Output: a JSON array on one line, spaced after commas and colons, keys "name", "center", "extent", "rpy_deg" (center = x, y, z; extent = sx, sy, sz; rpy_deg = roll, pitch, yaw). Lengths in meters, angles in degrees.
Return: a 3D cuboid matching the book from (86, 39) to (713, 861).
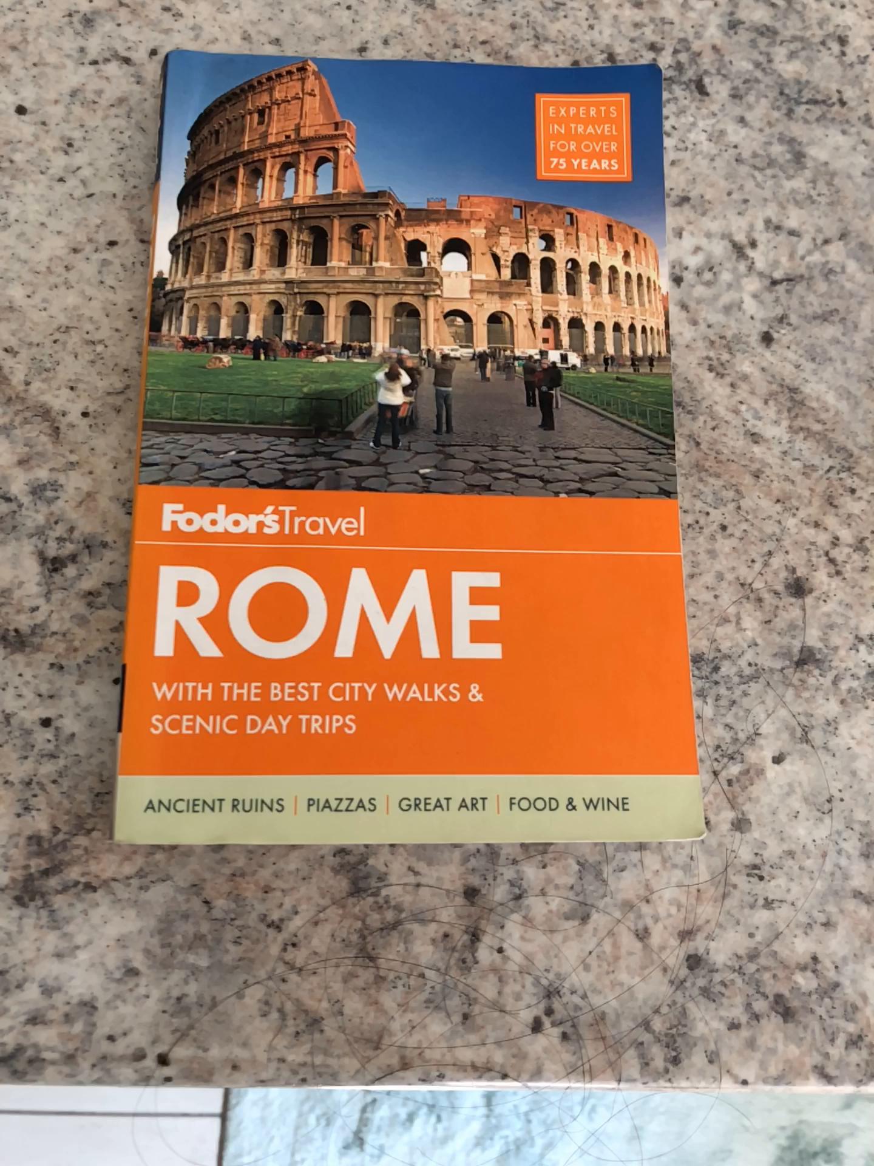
[{"name": "book", "center": [-0.007, -0.037, 0.249], "extent": [0.139, 0.024, 0.207], "rpy_deg": [1, 78, -4]}]
